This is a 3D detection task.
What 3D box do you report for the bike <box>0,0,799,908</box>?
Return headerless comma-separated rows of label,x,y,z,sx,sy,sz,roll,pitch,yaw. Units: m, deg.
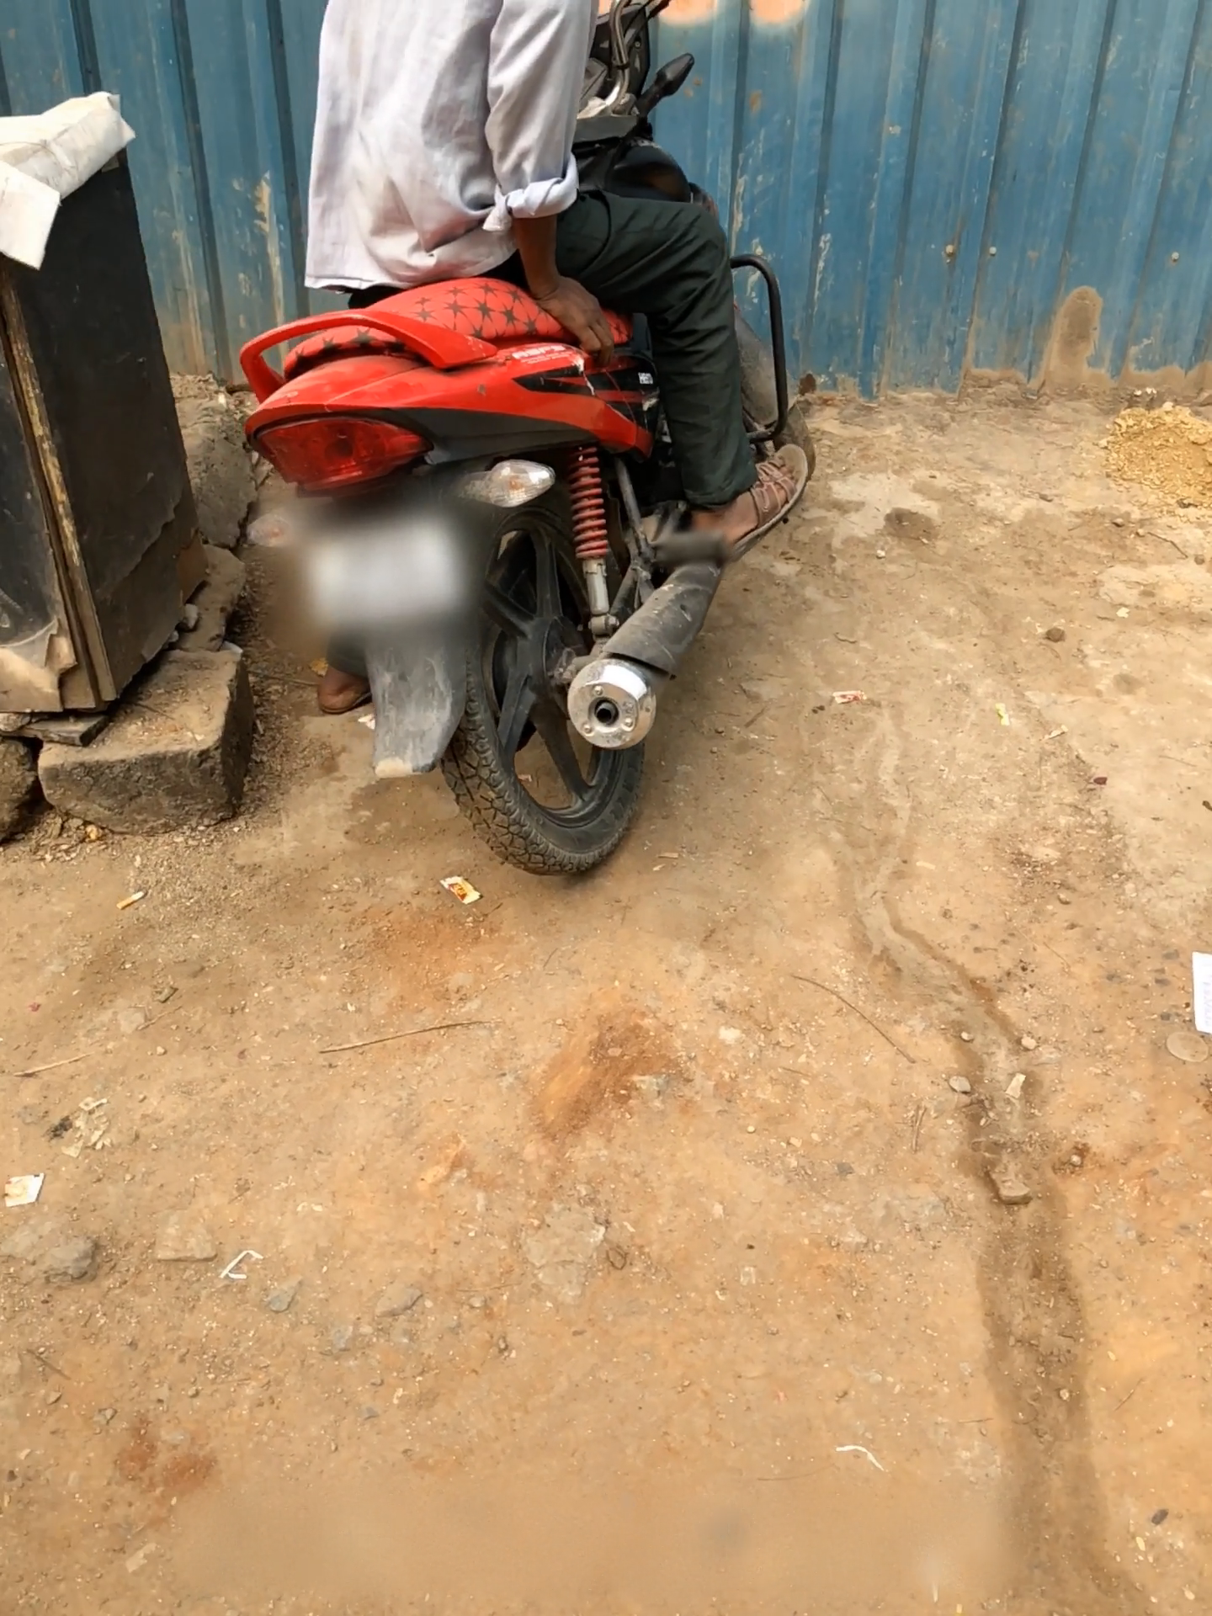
bike,-0.158,-0.933,2.224,0.734,1.129,1.642,7,39,9
